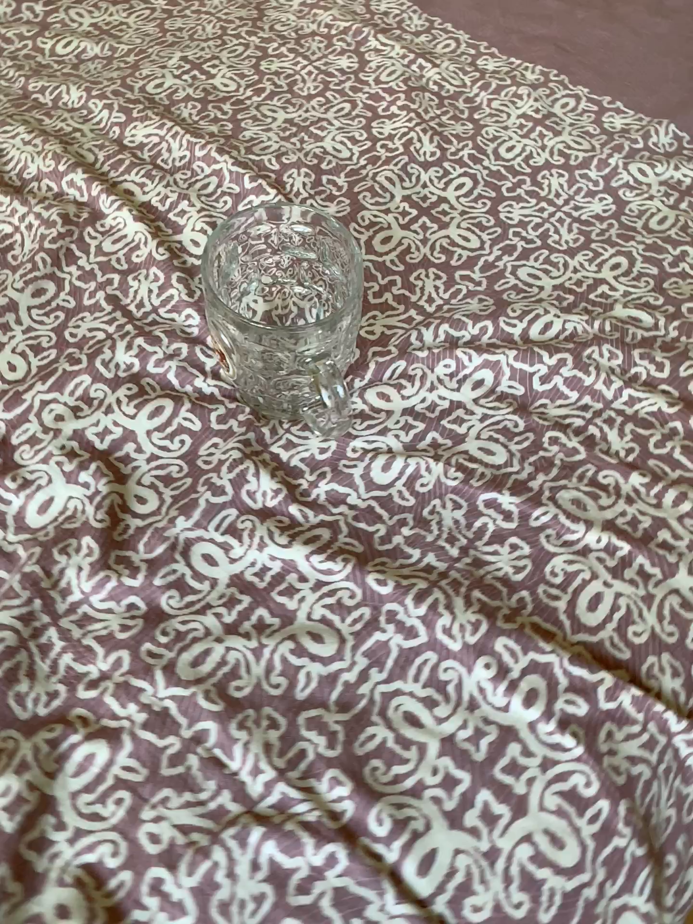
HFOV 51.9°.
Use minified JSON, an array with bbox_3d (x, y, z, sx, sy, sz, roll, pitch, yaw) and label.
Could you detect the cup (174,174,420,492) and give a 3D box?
[{"bbox_3d":[-0.028,-0.073,0.415,0.090,0.109,0.121,-21,62,-10],"label":"cup"}]
